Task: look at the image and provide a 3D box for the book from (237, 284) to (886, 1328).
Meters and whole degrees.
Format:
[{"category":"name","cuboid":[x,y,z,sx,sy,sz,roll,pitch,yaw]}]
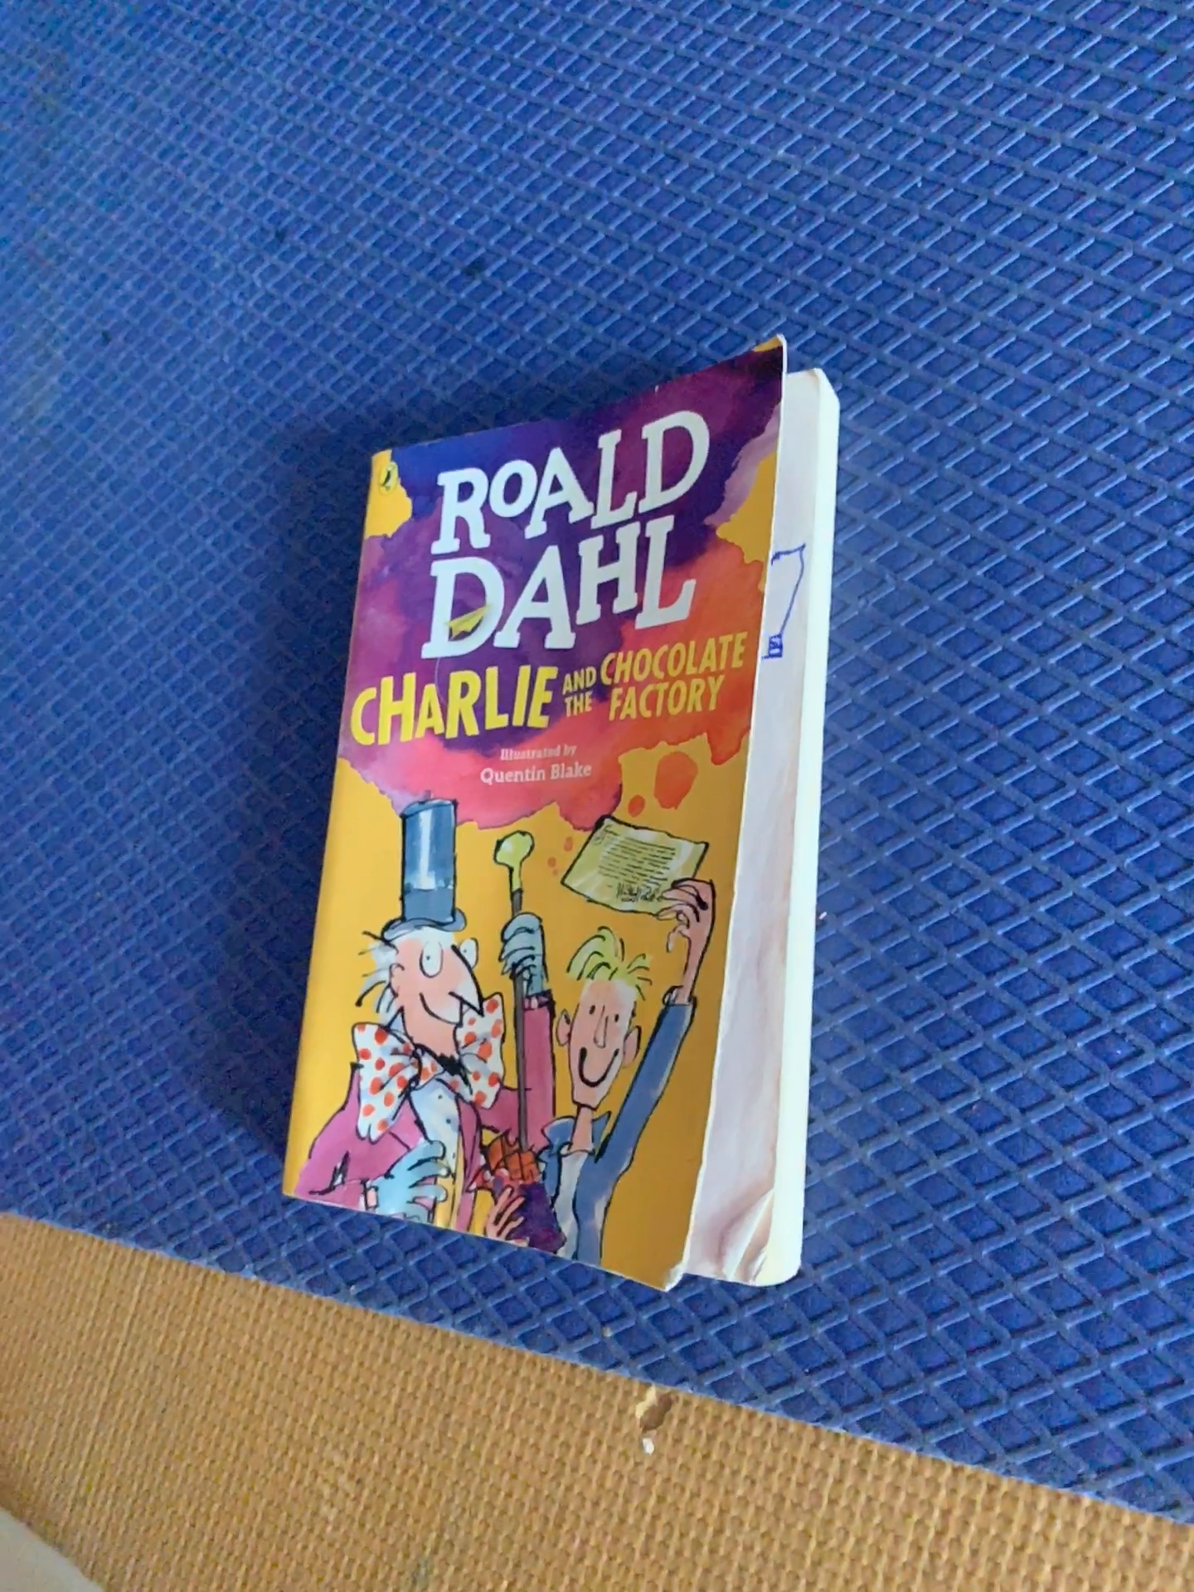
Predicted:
[{"category":"book","cuboid":[-0.009,-0.004,0.287,0.140,0.020,0.210,-1,77,29]}]
